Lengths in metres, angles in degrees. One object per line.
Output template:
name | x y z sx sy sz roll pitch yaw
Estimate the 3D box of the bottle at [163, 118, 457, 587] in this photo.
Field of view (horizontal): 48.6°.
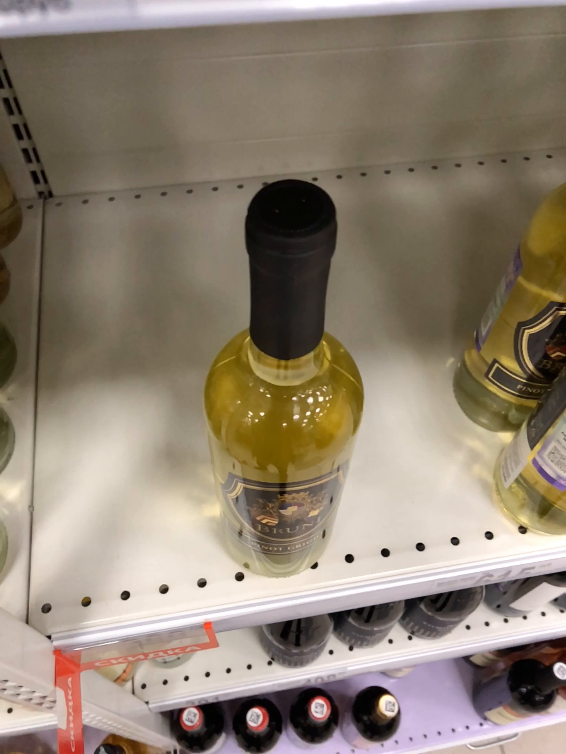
bottle | 0.000 0.024 0.318 0.080 0.289 0.080 1 58 -1
